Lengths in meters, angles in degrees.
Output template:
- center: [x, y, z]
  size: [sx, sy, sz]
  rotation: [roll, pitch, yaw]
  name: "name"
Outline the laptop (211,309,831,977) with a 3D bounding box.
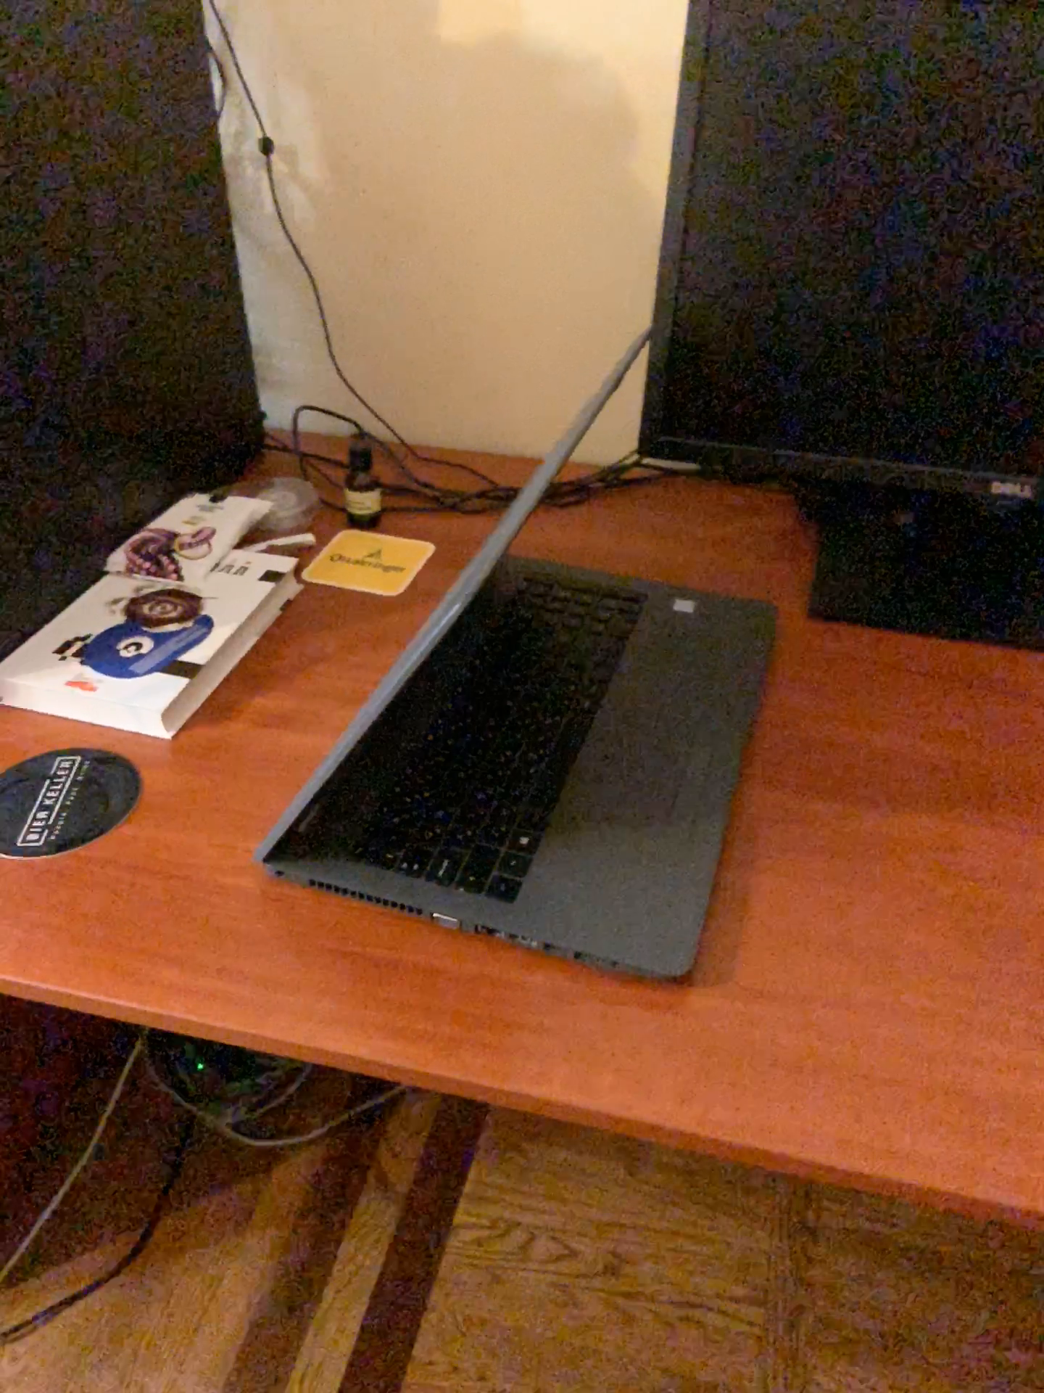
- center: [0.031, -0.069, 0.669]
  size: [0.248, 0.207, 0.377]
  rotation: [12, 39, 14]
  name: "laptop"
